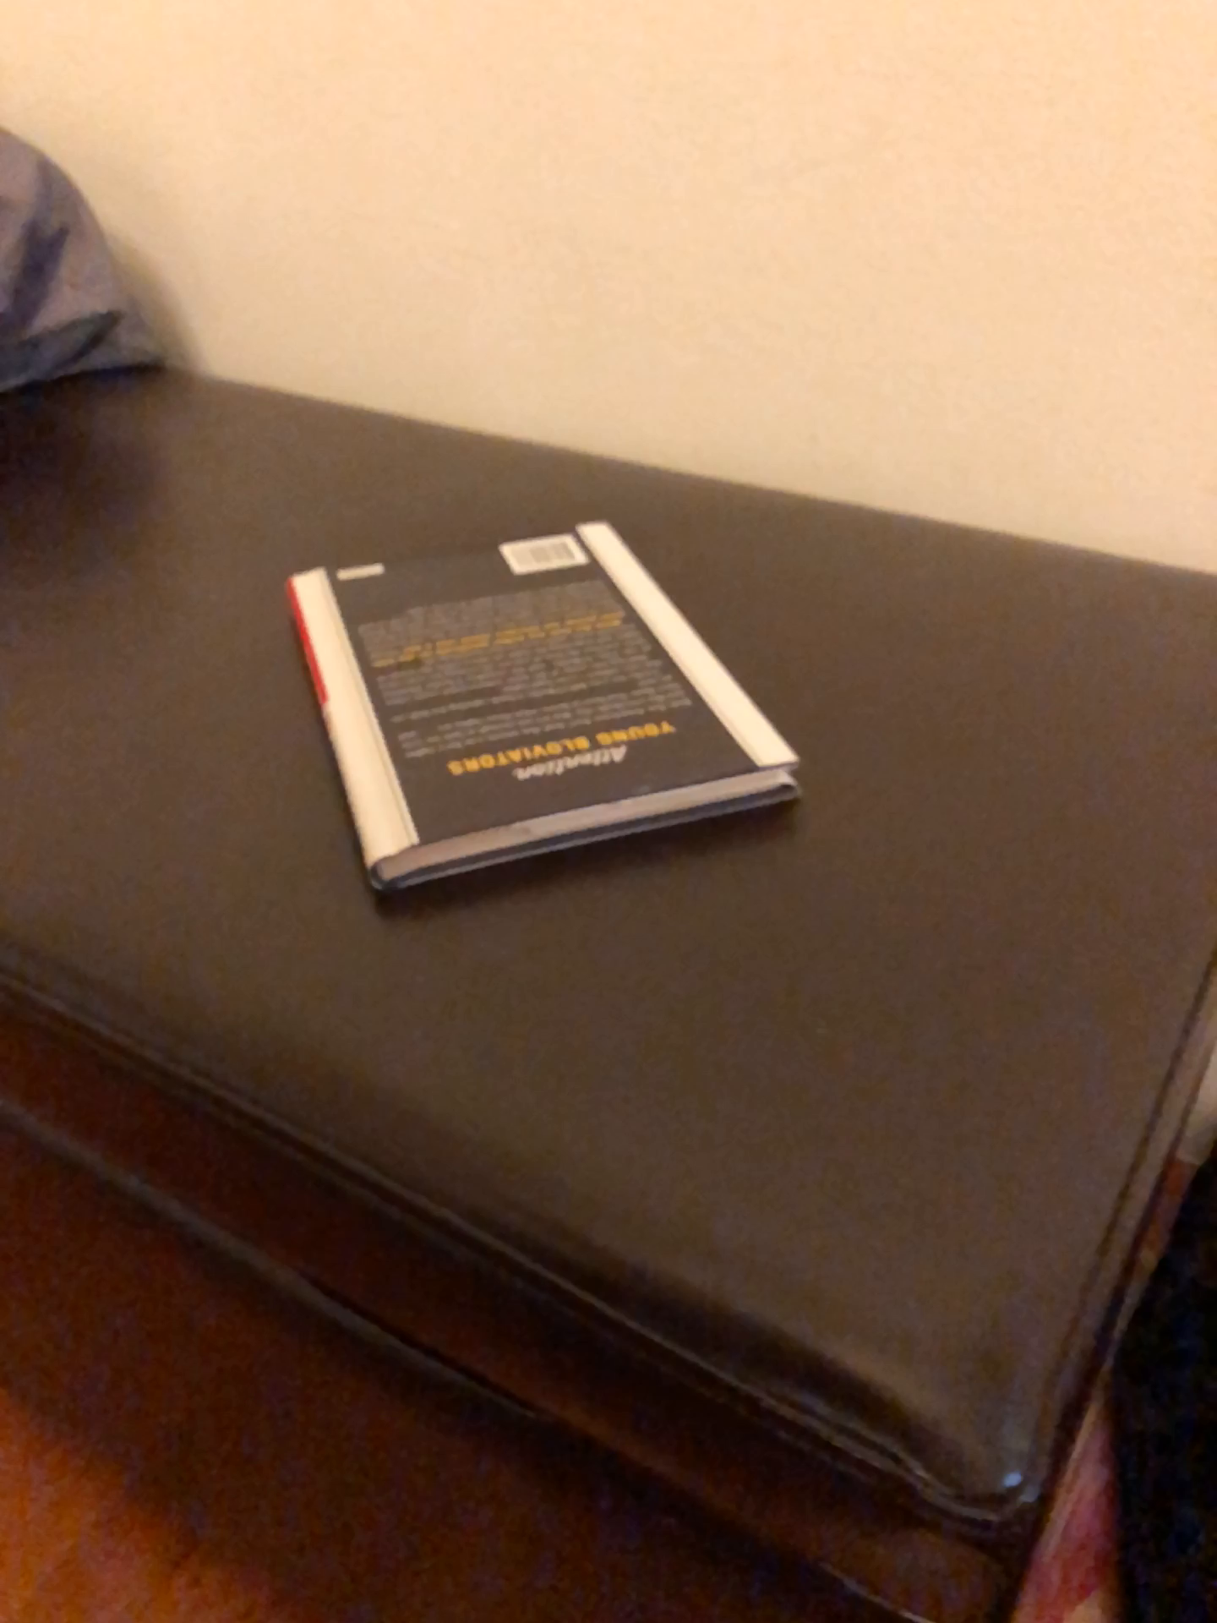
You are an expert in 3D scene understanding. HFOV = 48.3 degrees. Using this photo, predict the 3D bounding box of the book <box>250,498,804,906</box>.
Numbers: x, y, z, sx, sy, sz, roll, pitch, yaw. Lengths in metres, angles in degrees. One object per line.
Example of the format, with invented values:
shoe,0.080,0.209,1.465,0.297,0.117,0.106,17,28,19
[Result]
book,-0.046,-0.058,0.532,0.160,0.020,0.231,-13,37,-13
